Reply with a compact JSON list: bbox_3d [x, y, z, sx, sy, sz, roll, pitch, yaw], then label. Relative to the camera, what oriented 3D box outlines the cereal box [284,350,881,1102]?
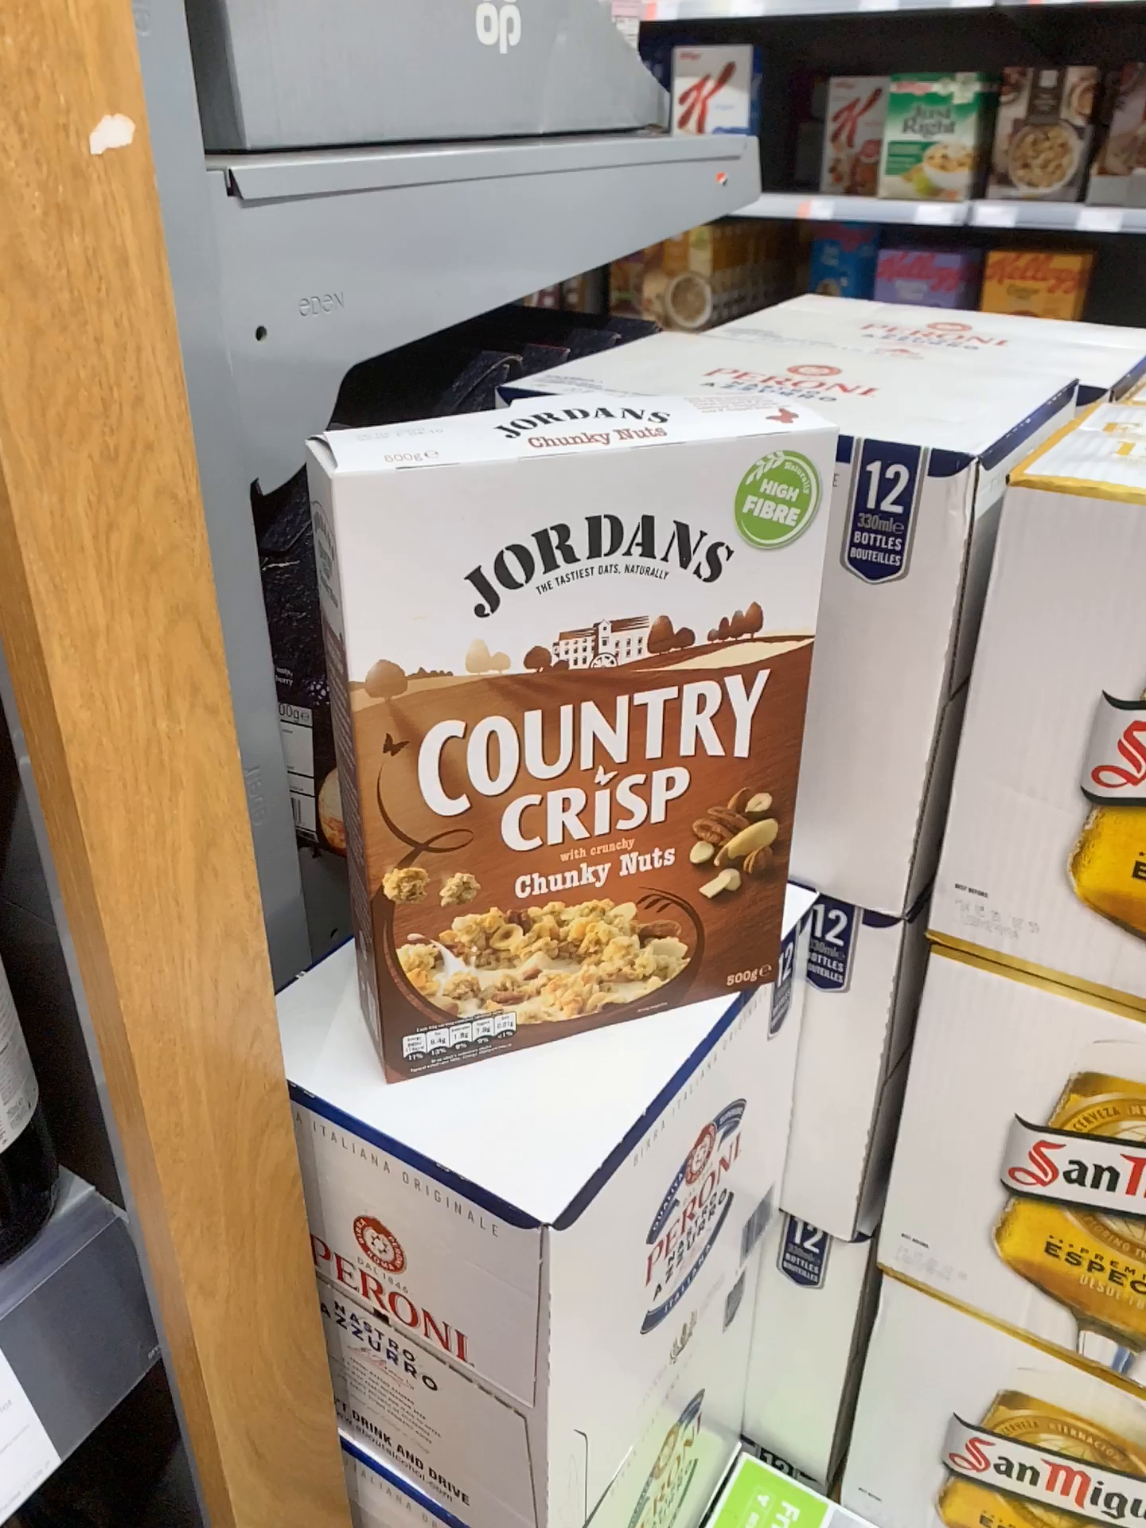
[{"bbox_3d":[0.006,-0.011,0.445,0.190,0.258,0.050,-11,30,-19],"label":"cereal box"}]
